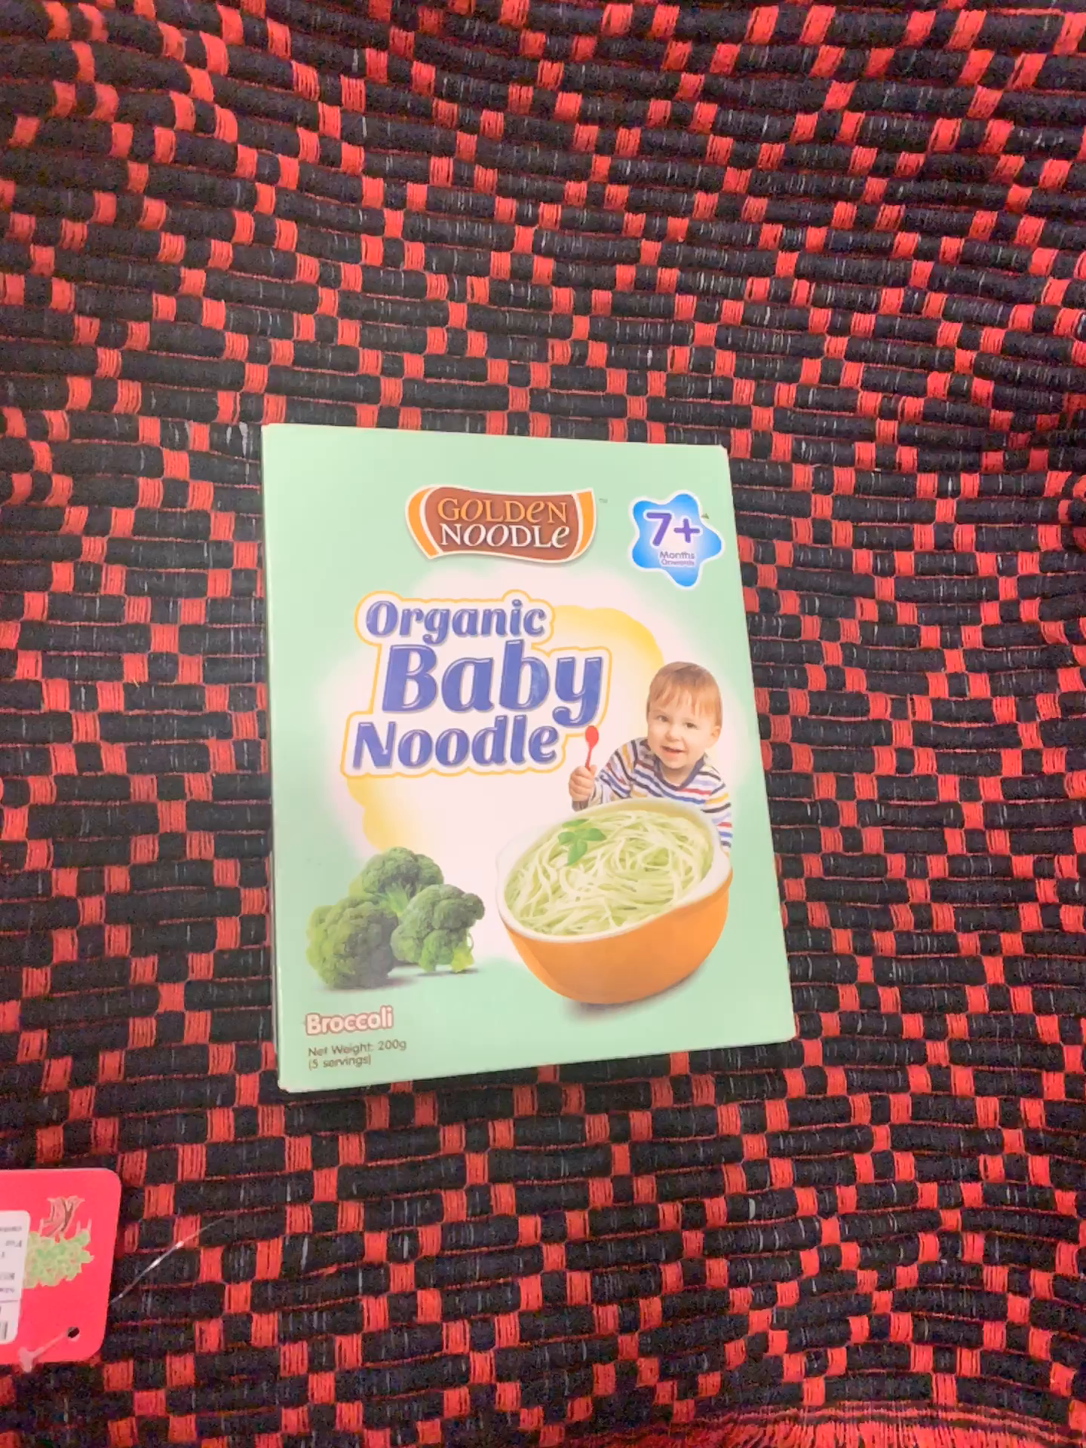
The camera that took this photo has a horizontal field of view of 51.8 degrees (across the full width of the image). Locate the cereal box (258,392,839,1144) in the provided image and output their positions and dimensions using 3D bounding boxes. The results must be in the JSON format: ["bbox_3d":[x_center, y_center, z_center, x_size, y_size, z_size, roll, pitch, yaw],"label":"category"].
[{"bbox_3d":[-0.006,0.009,0.295,0.130,0.060,0.170,-1,78,-16],"label":"cereal box"}]
